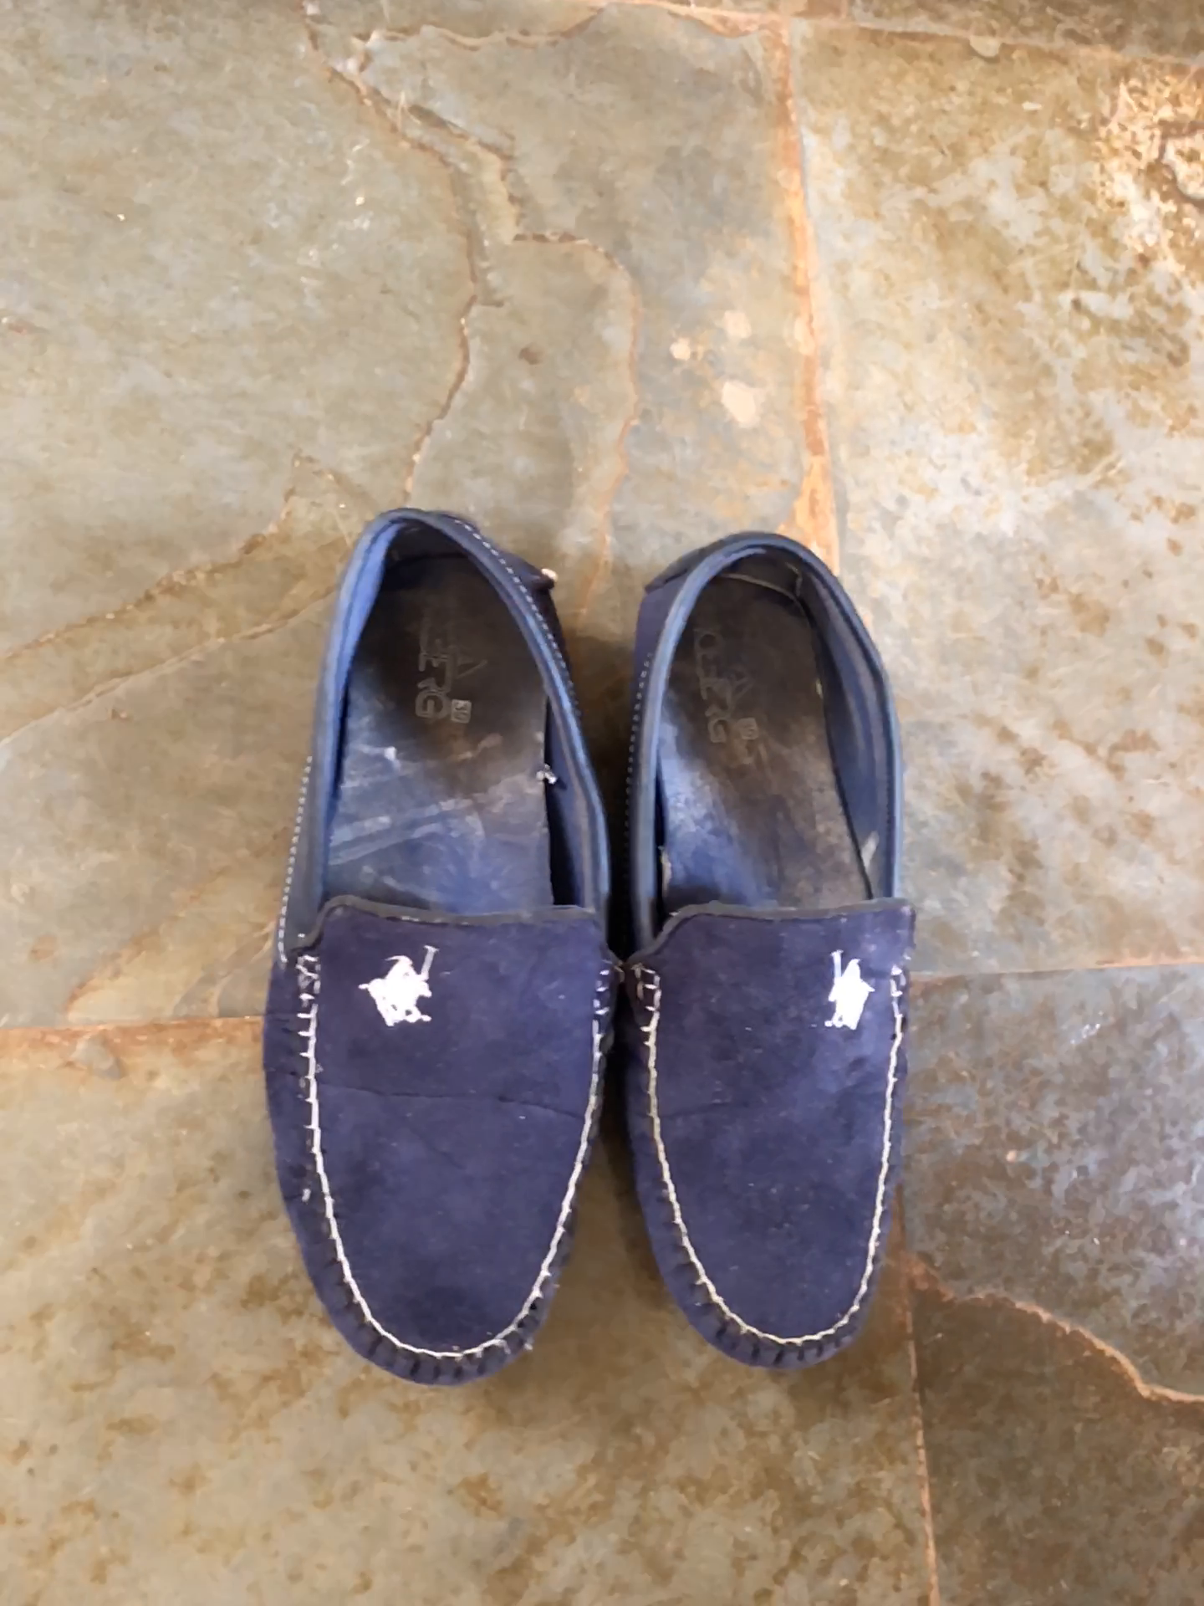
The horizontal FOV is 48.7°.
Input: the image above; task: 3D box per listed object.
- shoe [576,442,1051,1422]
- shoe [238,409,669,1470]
[{"bbox_3d":[0.054,0.033,0.406,0.100,0.090,0.260,0,78,-11],"label":"shoe"},{"bbox_3d":[-0.047,0.032,0.380,0.100,0.090,0.260,0,78,-11],"label":"shoe"}]
